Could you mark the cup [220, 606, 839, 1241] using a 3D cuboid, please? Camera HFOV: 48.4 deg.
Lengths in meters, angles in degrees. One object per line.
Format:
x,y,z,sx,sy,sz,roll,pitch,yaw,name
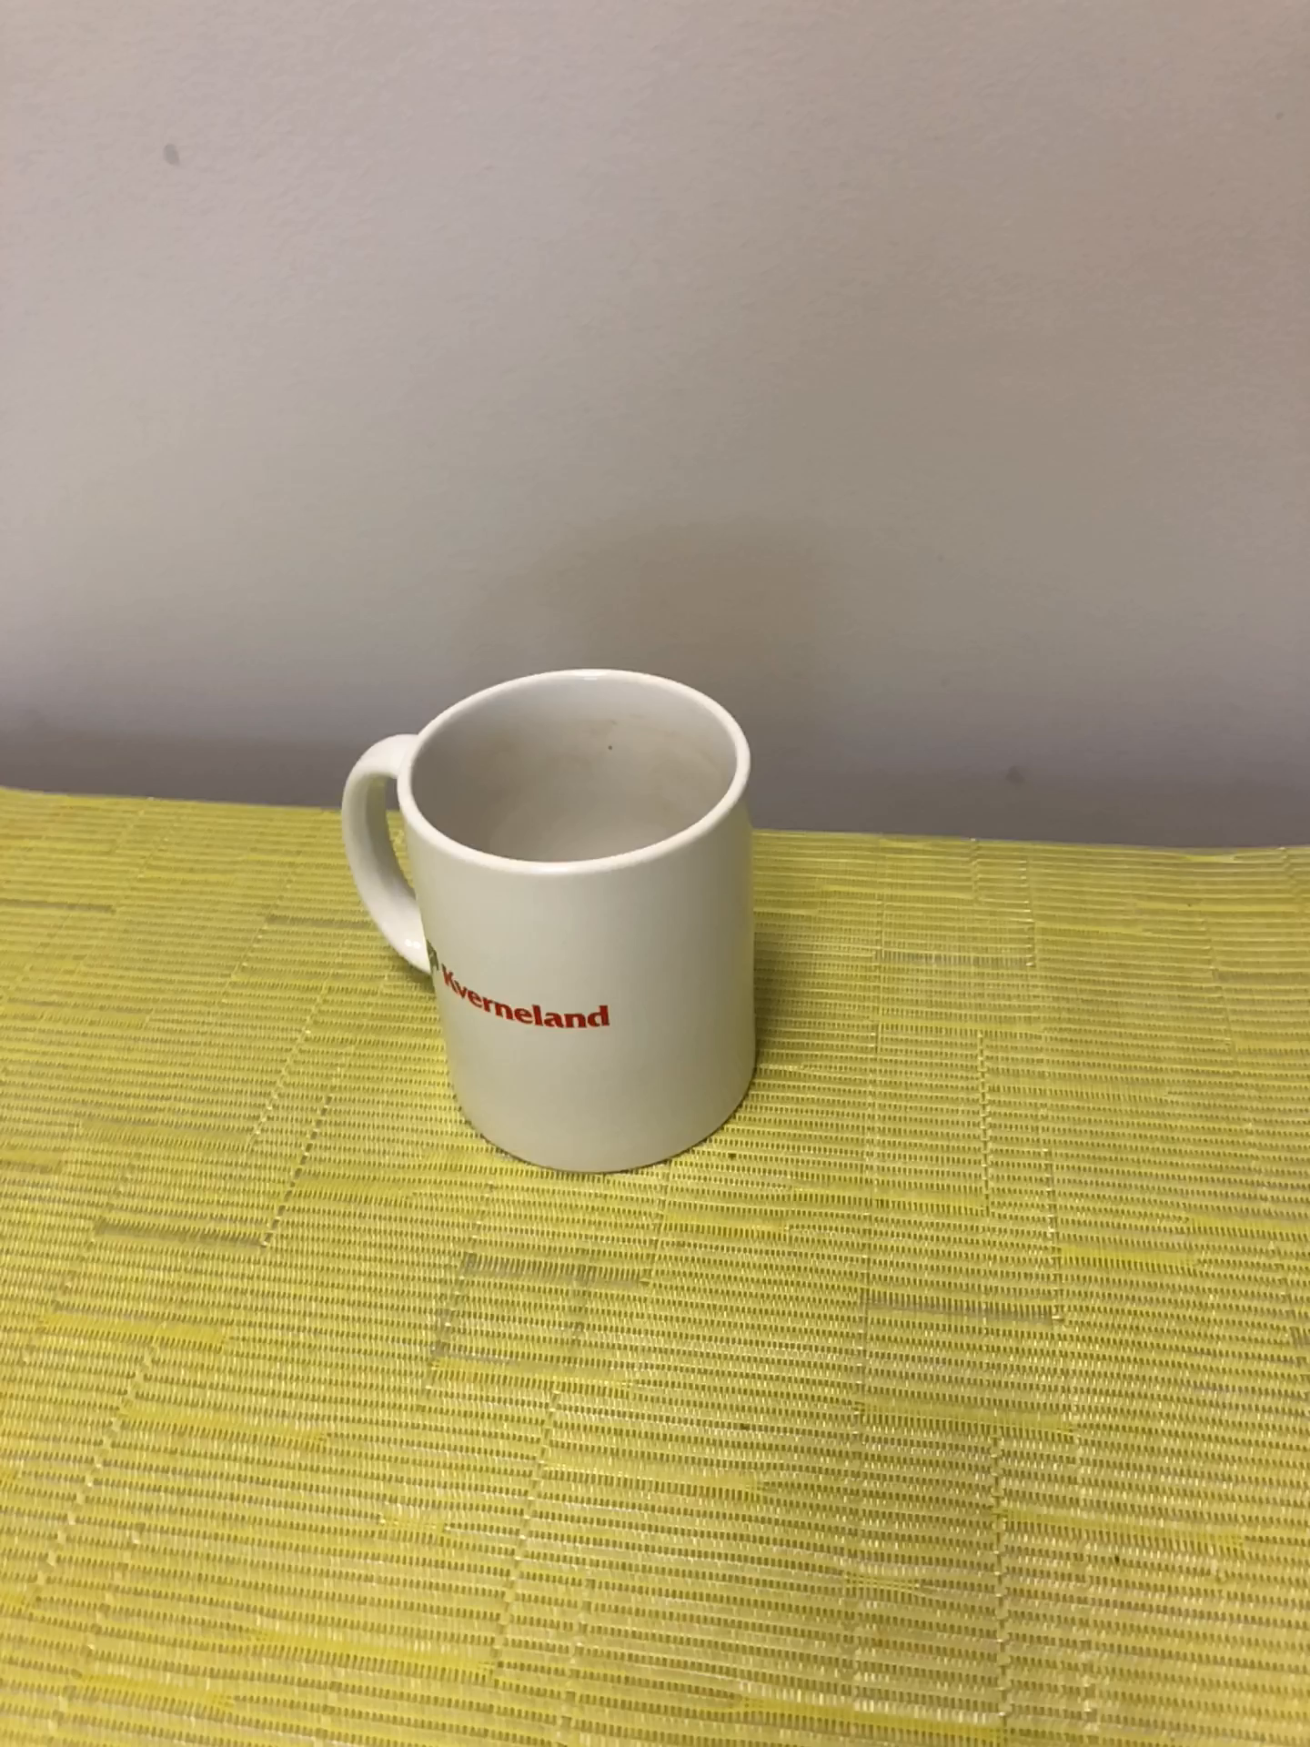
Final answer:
-0.026,0.007,0.368,0.114,0.100,0.090,17,41,24,cup
